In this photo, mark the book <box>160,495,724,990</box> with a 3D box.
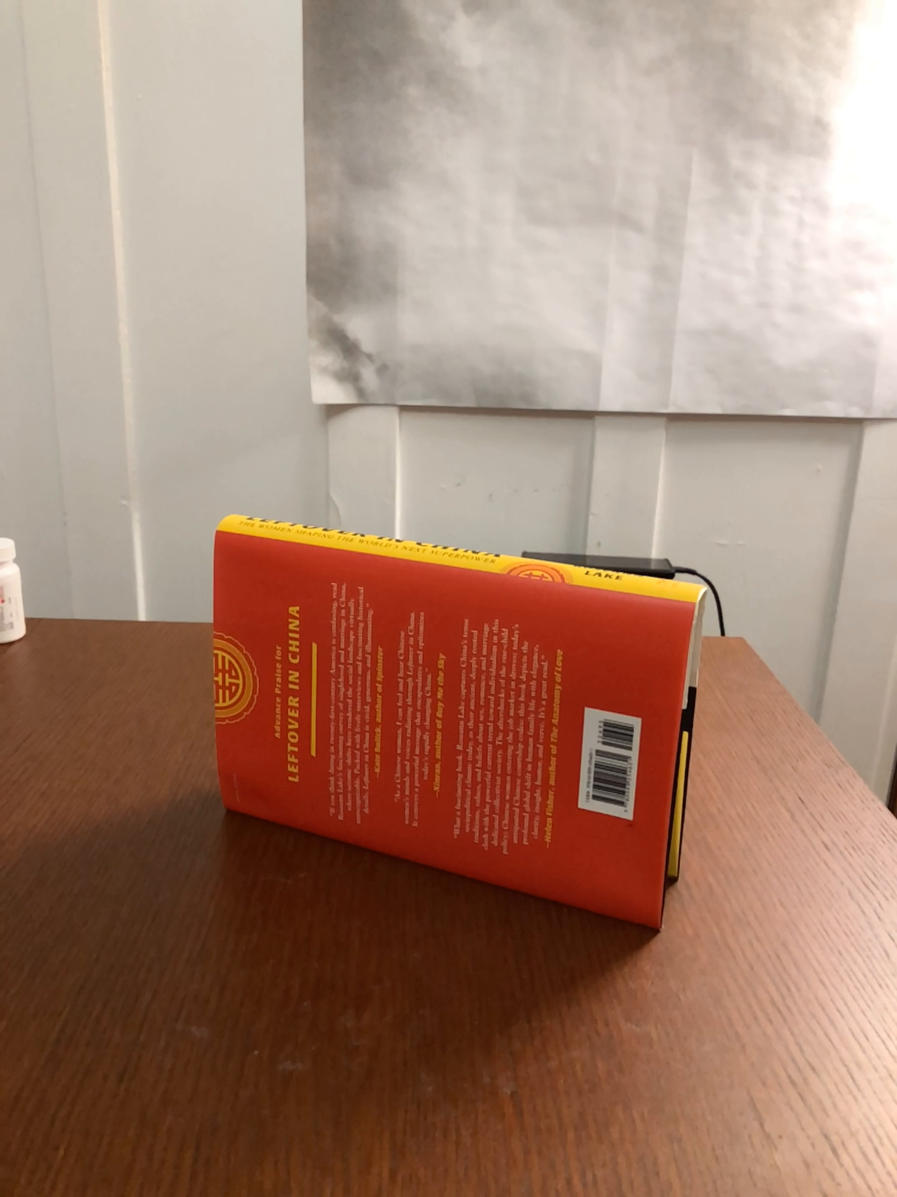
[{"bbox_3d":[-0.013,0.058,0.484,0.260,0.179,0.060,10,19,22],"label":"book"}]
